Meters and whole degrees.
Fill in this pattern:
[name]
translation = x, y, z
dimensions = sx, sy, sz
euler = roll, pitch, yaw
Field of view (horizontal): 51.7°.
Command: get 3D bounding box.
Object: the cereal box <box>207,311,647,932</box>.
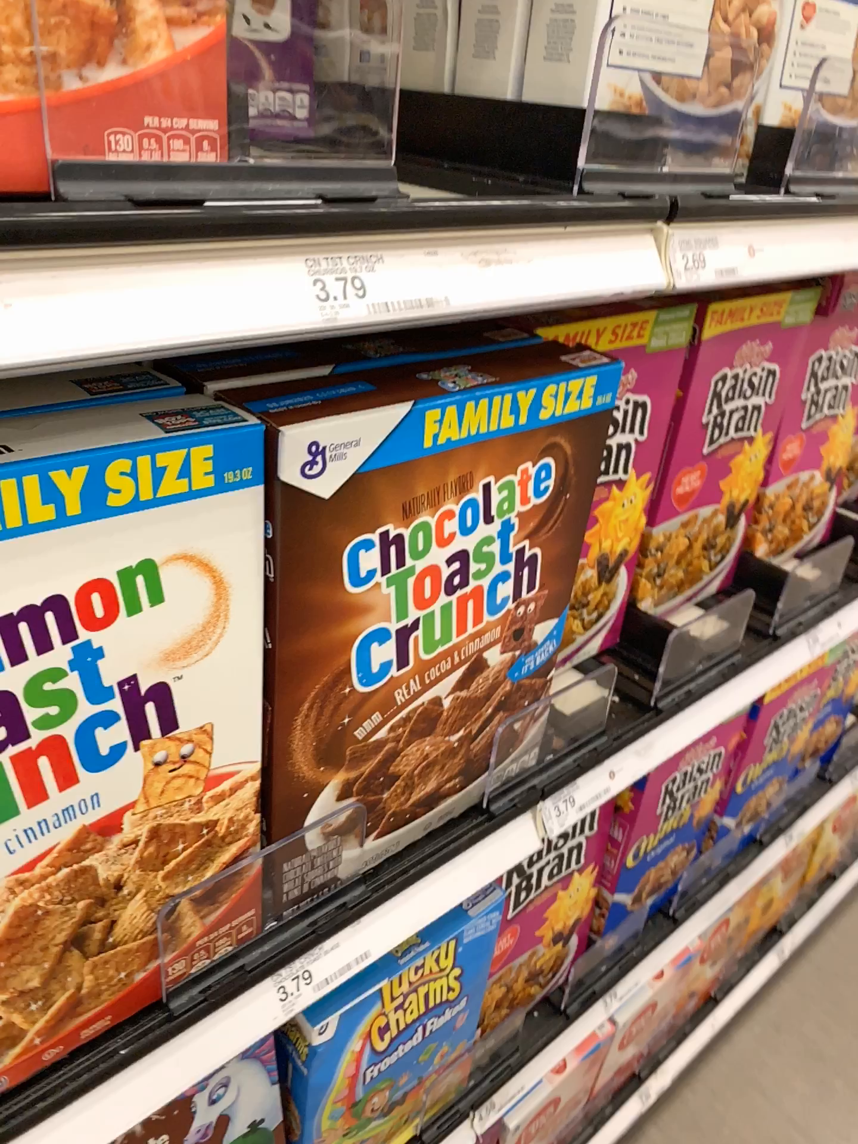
[cereal box]
translation = -0.002, 0.023, 0.513
dimensions = 0.241, 0.308, 0.060
euler = -20, 39, -38
